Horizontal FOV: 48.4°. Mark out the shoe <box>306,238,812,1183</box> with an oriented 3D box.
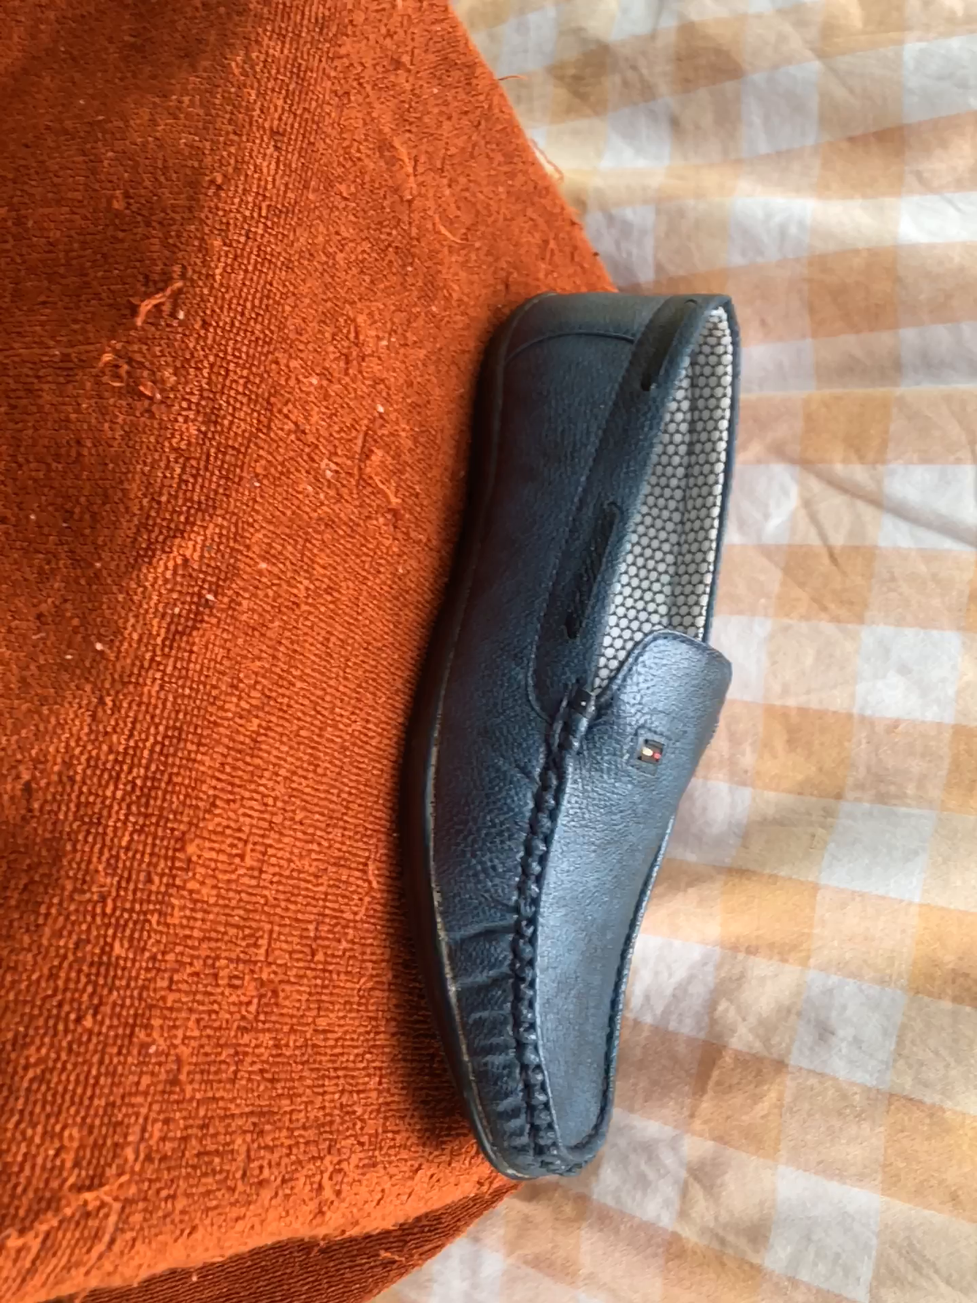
[{"bbox_3d":[0.036,0.015,0.349,0.101,0.089,0.260,38,59,-57],"label":"shoe"}]
